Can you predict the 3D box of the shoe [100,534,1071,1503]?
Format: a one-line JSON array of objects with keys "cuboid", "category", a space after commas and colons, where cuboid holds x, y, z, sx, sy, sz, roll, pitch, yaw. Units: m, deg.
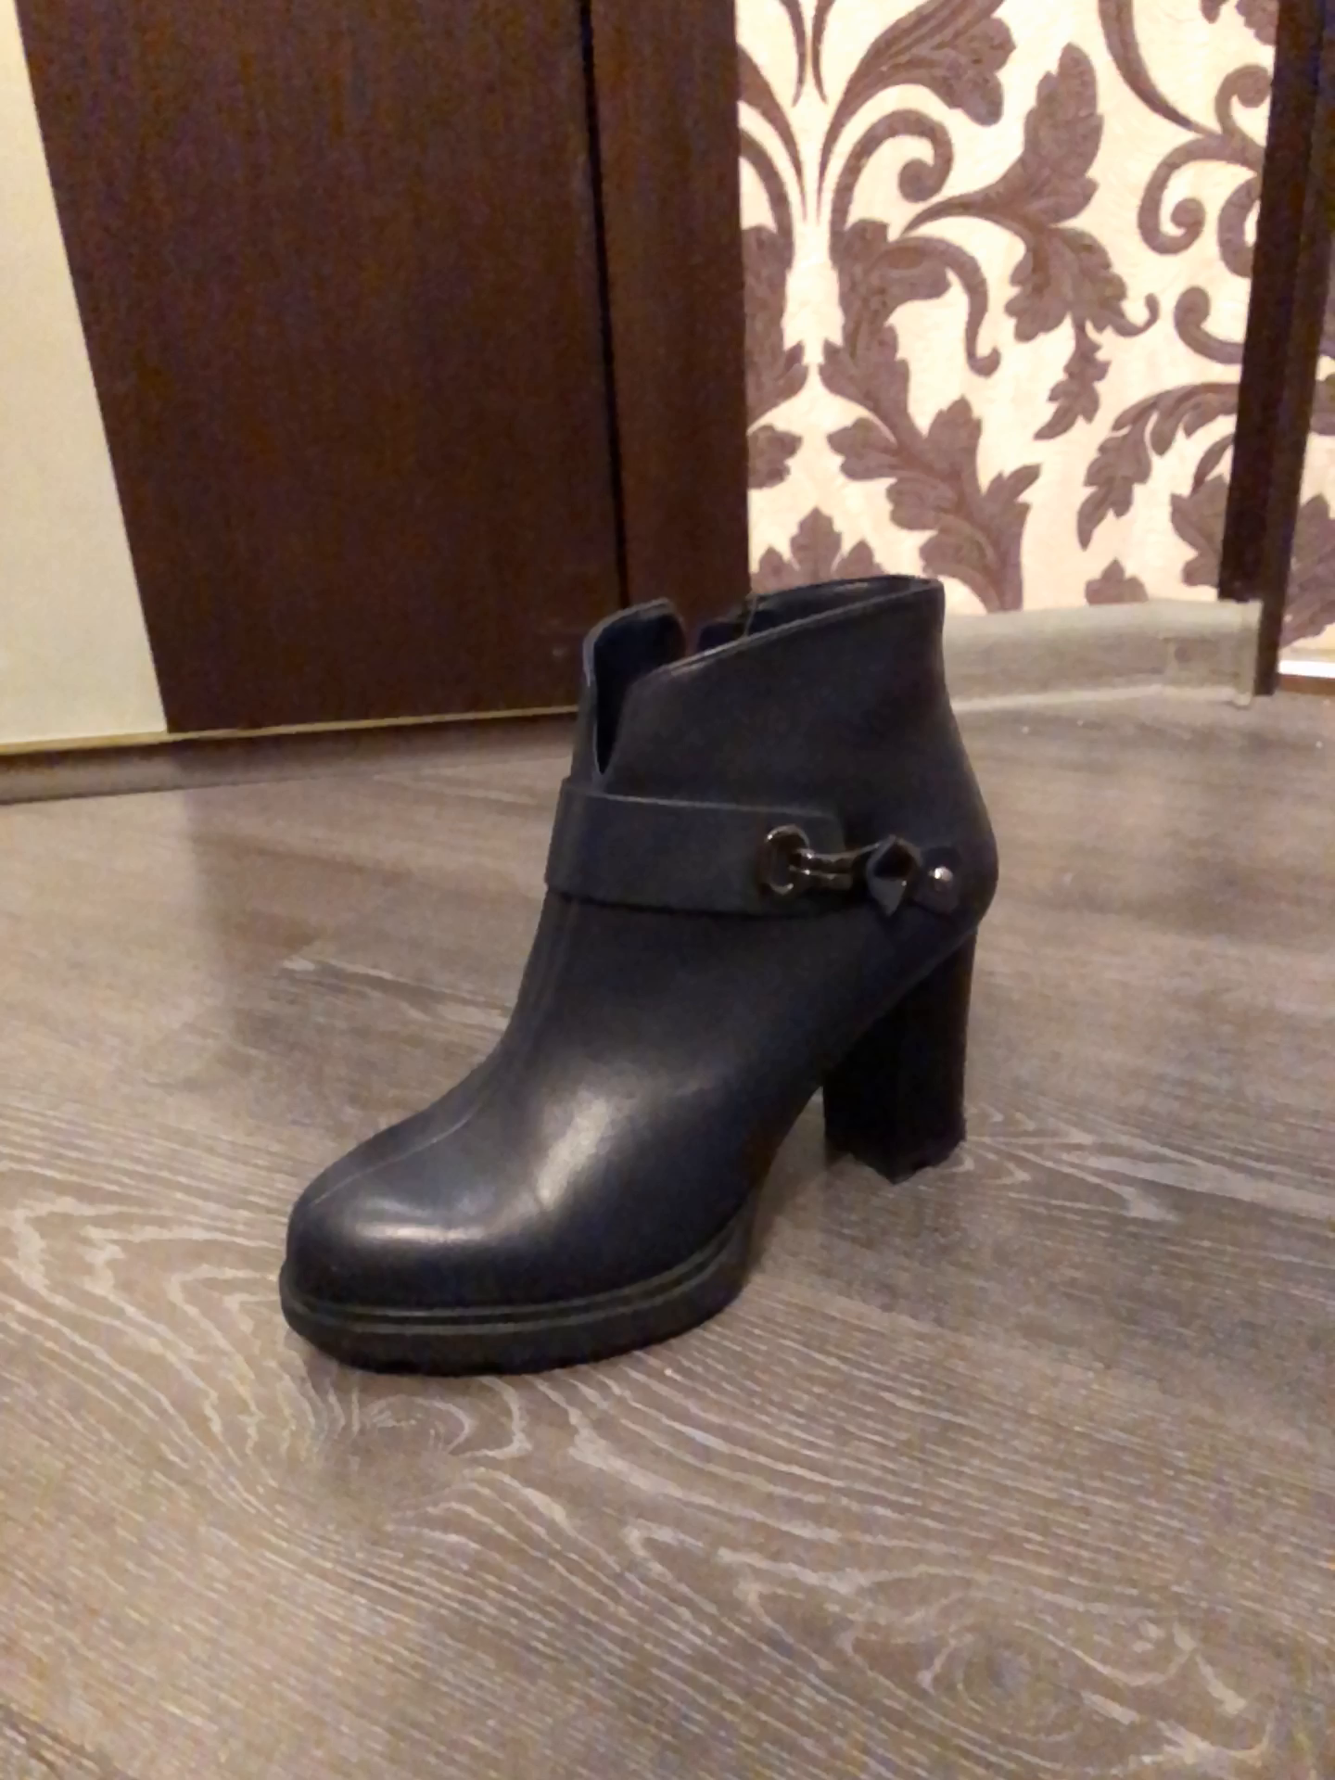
[{"cuboid": [-0.013, 0.019, 0.427, 0.230, 0.189, 0.110, -17, 28, -27], "category": "shoe"}]
